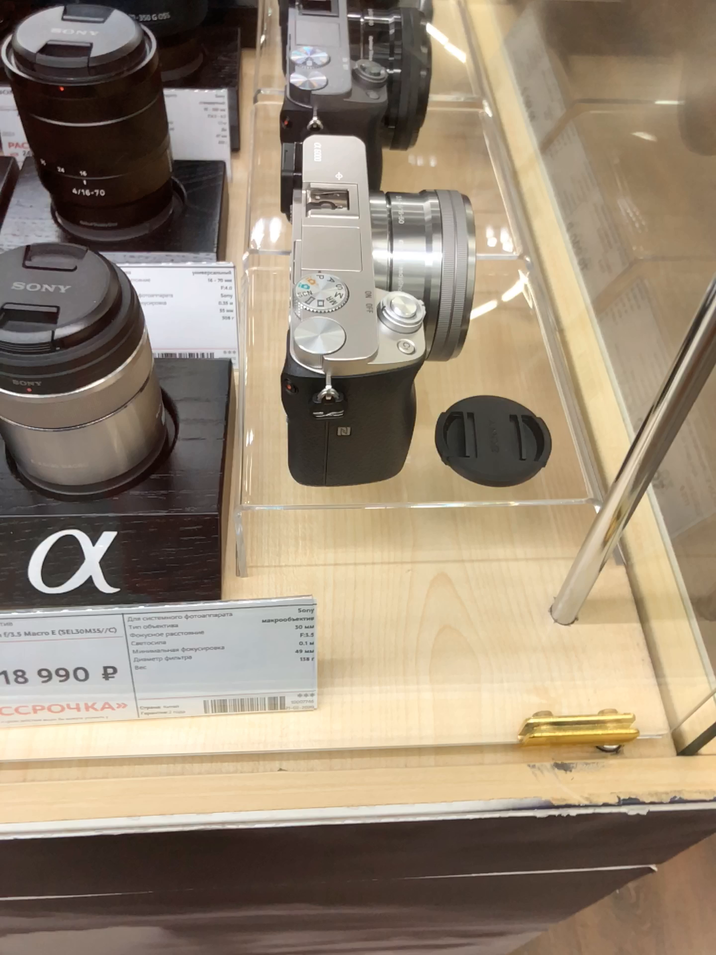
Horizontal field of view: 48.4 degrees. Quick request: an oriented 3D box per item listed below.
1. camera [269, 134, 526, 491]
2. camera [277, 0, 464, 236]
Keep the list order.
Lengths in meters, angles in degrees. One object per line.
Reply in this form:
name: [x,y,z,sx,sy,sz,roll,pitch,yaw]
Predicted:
camera: [0.009,-0.063,0.295,0.076,0.061,0.124,0,54,-3]
camera: [0.002,-0.183,0.385,0.076,0.061,0.128,0,54,-3]
